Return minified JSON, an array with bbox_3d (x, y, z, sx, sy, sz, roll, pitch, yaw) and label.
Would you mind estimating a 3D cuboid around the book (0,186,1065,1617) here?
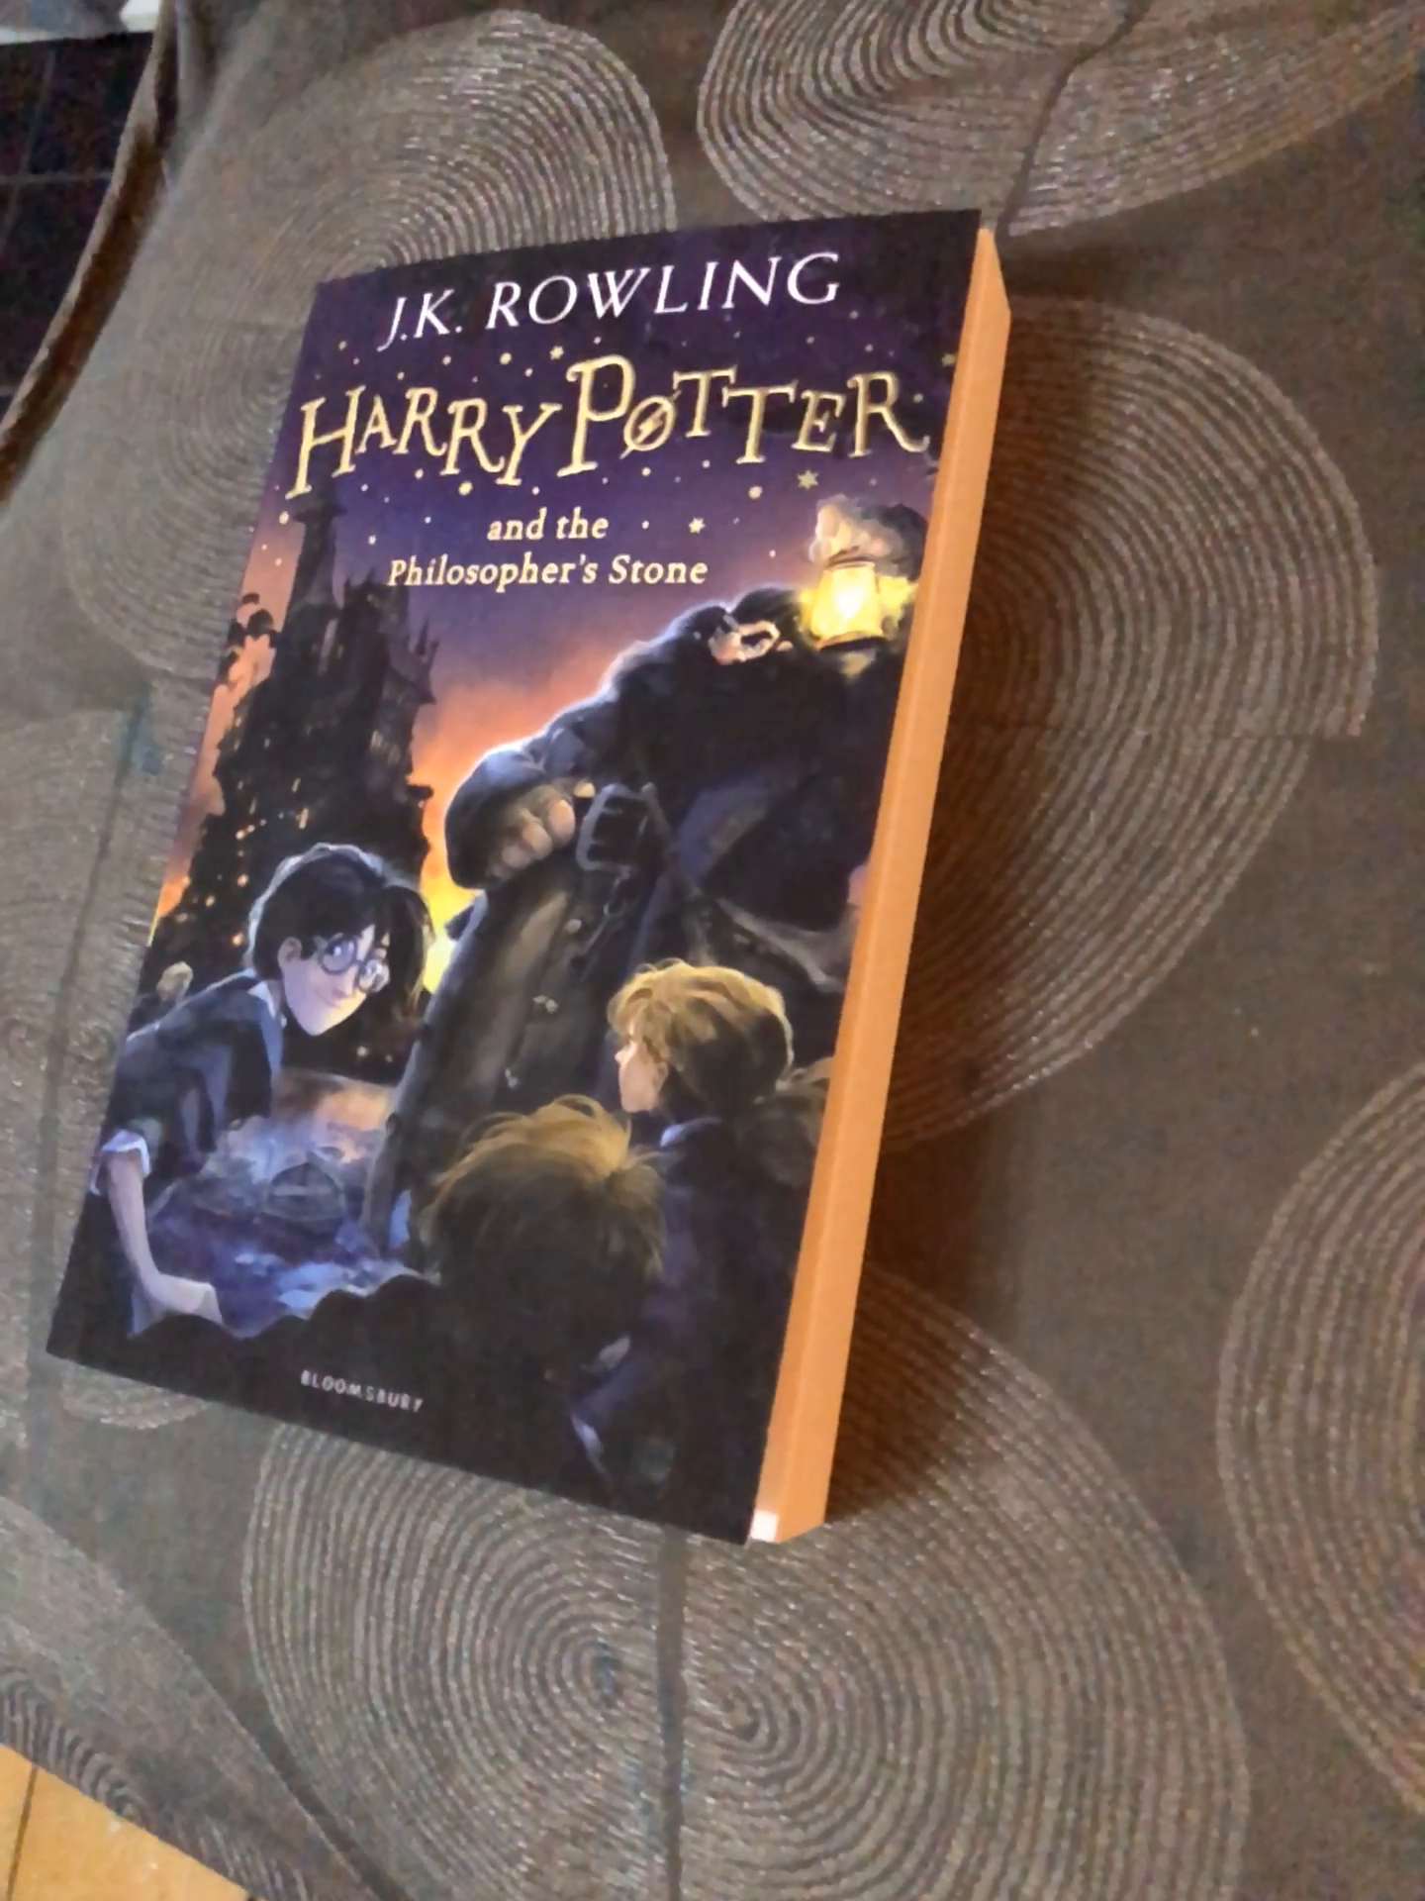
[{"bbox_3d":[-0.026,-0.019,0.261,0.140,0.040,0.210,6,77,18],"label":"book"}]
